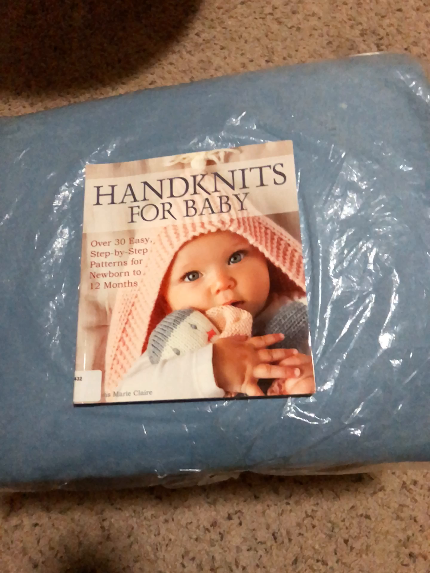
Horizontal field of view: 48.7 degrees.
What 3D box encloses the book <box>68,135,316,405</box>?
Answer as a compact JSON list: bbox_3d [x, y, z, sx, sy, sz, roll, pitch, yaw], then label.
[{"bbox_3d":[-0.024,-0.016,0.408,0.196,0.020,0.220,-5,74,9],"label":"book"}]
